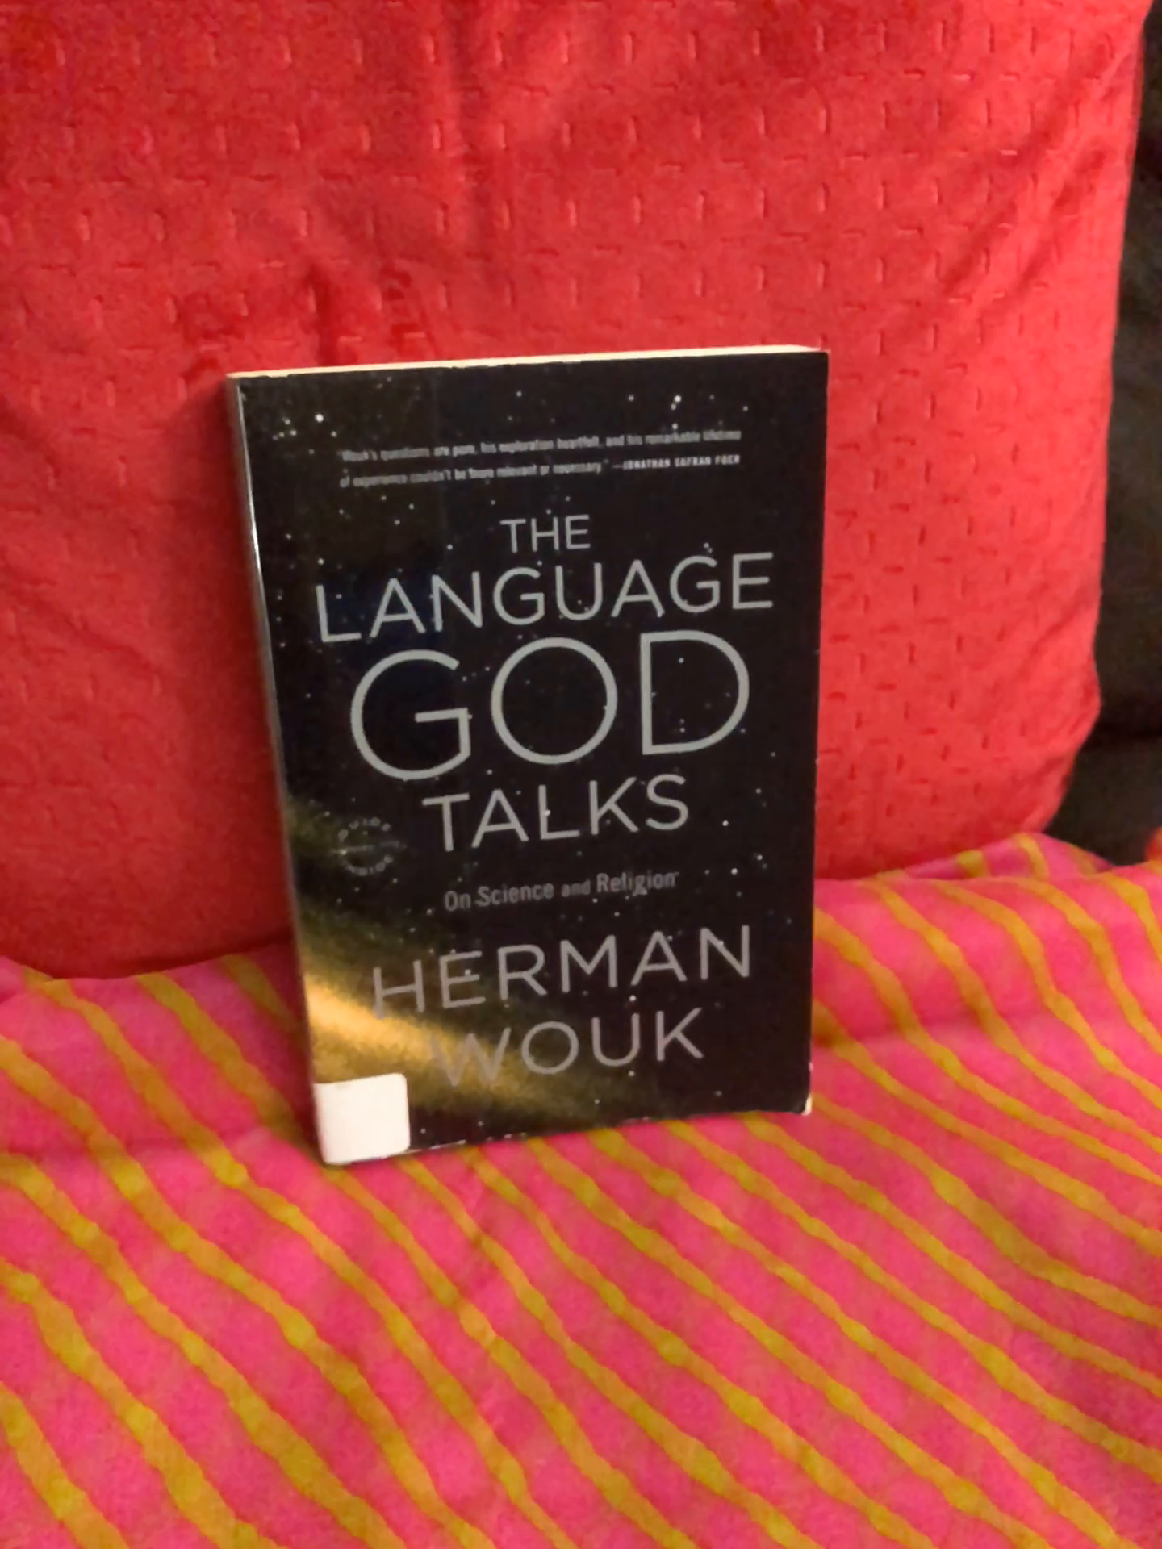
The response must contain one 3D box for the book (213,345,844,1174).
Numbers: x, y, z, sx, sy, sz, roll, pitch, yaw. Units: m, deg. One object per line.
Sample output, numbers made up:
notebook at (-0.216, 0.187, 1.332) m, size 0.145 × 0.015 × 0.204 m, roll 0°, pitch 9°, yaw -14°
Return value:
book at (-0.008, -0.001, 0.328) m, size 0.138 × 0.199 × 0.030 m, roll -5°, pitch 20°, yaw -9°
